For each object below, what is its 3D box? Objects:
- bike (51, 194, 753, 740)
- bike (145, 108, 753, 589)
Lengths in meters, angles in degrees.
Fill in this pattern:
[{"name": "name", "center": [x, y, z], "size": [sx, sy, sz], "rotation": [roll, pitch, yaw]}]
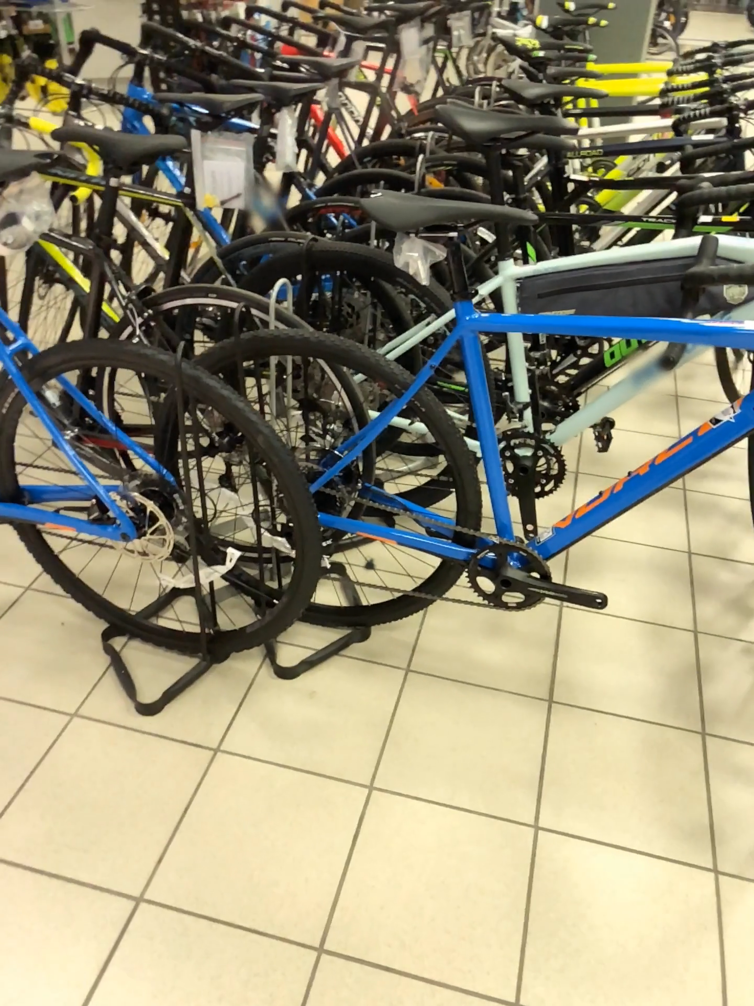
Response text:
[{"name": "bike", "center": [0.290, -0.055, 1.762], "size": [1.469, 0.806, 0.527], "rotation": [8, 34, -2]}, {"name": "bike", "center": [0.371, -0.365, 1.974], "size": [1.421, 0.870, 0.619], "rotation": [4, 34, 0]}]
